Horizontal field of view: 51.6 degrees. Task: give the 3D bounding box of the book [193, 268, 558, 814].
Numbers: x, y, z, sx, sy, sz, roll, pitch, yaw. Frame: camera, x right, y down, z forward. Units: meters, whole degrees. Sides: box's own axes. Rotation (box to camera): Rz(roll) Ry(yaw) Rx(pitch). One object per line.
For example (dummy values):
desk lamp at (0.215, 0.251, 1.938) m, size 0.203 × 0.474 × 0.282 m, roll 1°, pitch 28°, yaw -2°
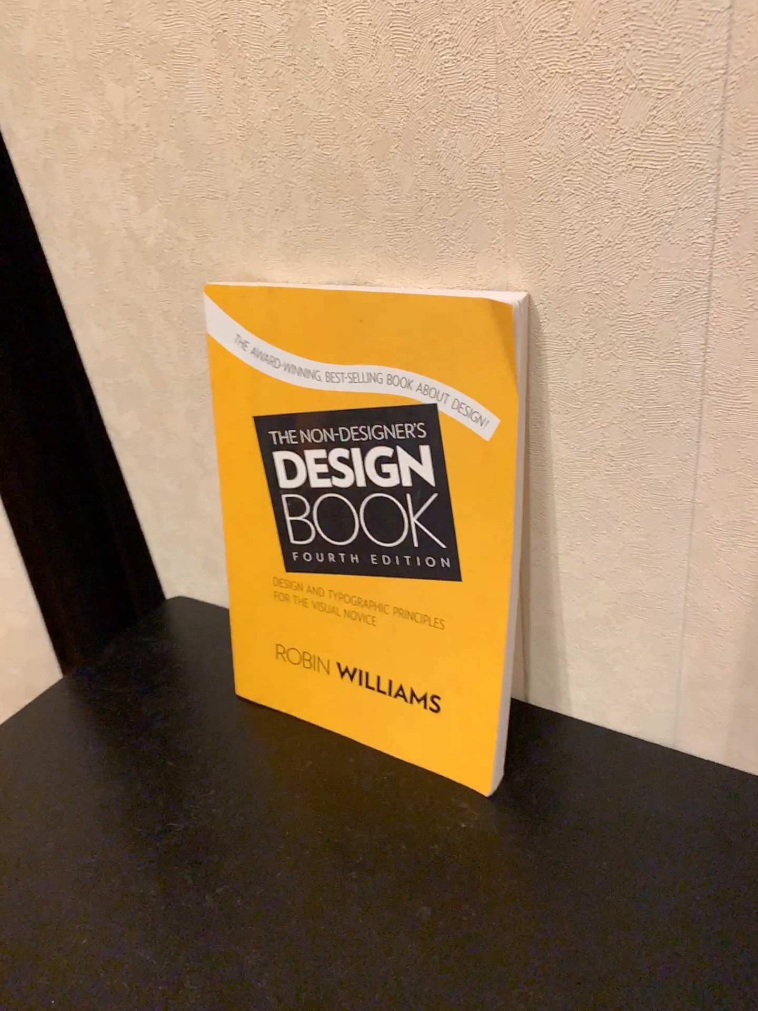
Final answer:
book at (-0.010, 0.012, 0.416) m, size 0.191 × 0.259 × 0.030 m, roll 12°, pitch 22°, yaw 32°
